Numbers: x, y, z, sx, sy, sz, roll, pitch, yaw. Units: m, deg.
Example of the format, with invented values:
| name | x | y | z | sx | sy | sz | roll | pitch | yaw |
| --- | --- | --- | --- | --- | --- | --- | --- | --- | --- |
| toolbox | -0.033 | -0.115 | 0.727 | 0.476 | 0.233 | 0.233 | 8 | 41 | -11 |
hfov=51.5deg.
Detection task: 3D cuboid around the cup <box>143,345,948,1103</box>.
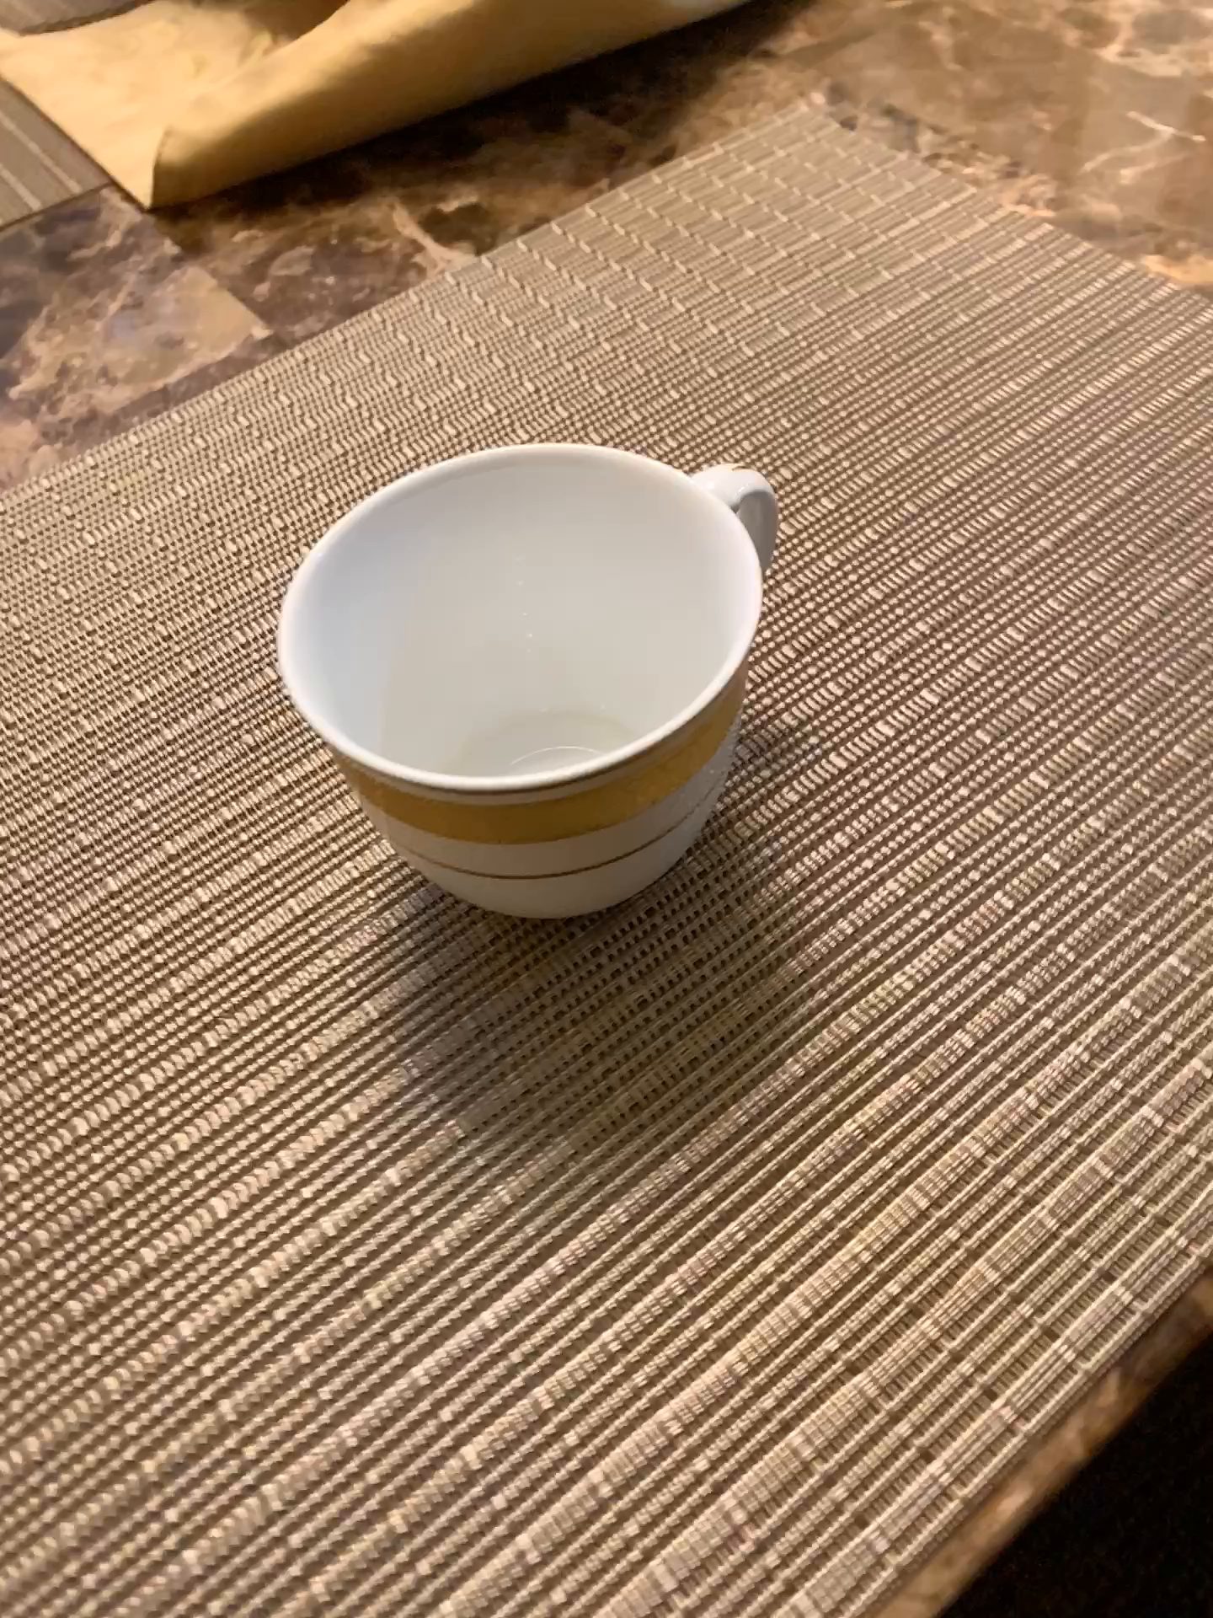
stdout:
| name | x | y | z | sx | sy | sz | roll | pitch | yaw |
| --- | --- | --- | --- | --- | --- | --- | --- | --- | --- |
| cup | -0.008 | -0.020 | 0.226 | 0.103 | 0.055 | 0.083 | -39 | 59 | -22 |
